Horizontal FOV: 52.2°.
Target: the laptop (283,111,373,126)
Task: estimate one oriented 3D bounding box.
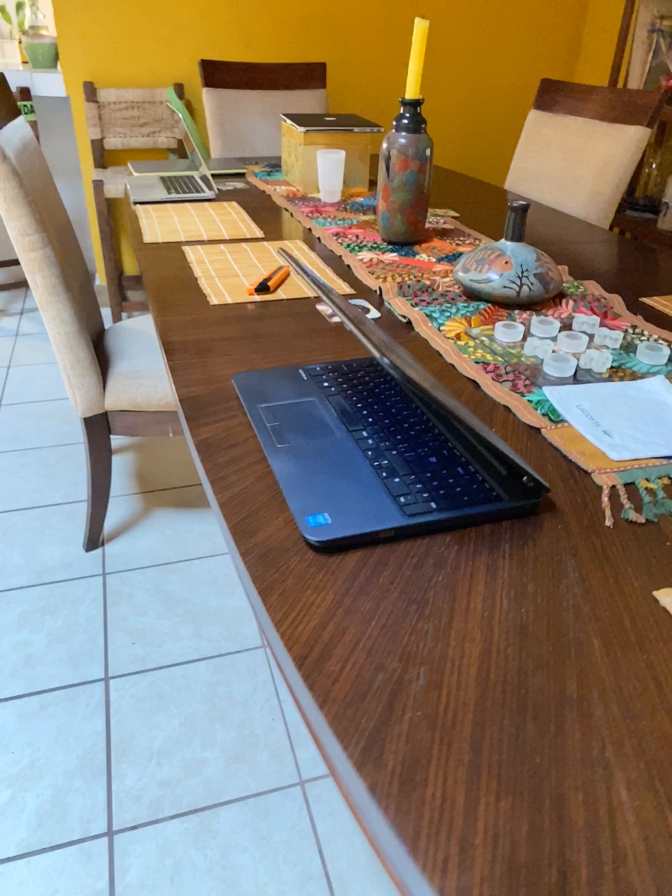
[{"bbox_3d":[-0.029,-0.957,1.990,0.201,0.001,0.293,-6,33,-15],"label":"laptop"}]

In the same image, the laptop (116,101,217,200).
[{"bbox_3d":[-0.490,-0.863,1.968,0.221,0.207,0.373,-10,32,-17],"label":"laptop"}]

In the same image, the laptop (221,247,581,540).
[{"bbox_3d":[0.036,-0.089,0.753,0.248,0.158,0.358,-8,32,-16],"label":"laptop"}]
